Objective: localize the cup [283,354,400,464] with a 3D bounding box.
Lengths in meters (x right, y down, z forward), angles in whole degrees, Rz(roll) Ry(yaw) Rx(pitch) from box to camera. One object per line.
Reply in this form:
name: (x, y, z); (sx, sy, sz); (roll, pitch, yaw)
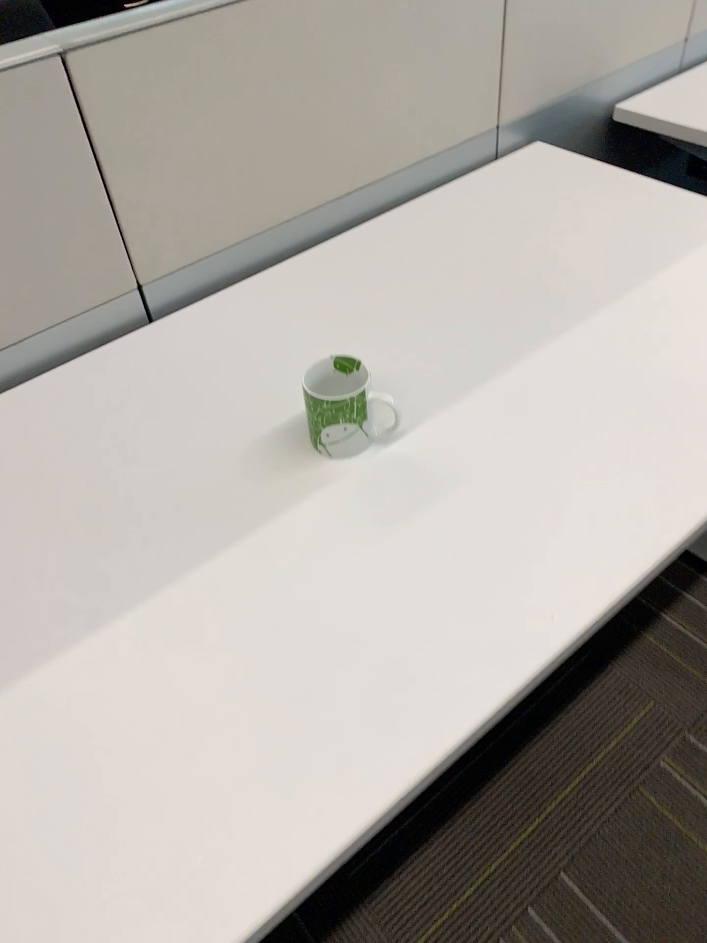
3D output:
cup: (-0.011, -0.076, 0.874); (0.130, 0.090, 0.090); (-2, 46, 4)
